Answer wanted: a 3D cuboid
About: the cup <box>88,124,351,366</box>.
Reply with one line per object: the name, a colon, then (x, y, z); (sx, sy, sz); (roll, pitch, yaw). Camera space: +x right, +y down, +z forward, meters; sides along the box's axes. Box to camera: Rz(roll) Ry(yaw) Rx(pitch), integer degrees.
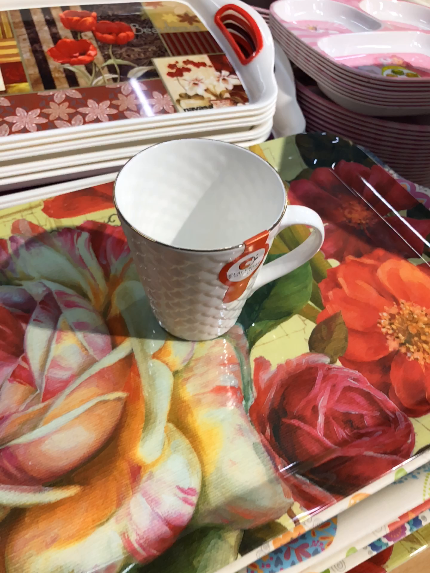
cup: (-0.007, -0.027, 0.281); (0.120, 0.089, 0.101); (-5, 48, -10)
